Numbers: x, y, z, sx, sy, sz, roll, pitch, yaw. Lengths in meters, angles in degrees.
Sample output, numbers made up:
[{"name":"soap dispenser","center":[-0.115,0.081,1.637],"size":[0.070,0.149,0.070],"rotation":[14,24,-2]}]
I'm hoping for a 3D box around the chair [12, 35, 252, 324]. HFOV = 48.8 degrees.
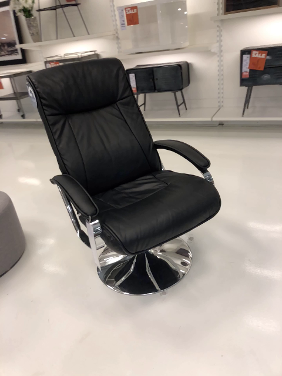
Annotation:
[{"name":"chair","center":[-0.044,-0.136,1.529],"size":[0.732,0.993,0.804],"rotation":[-20,29,-23]}]
